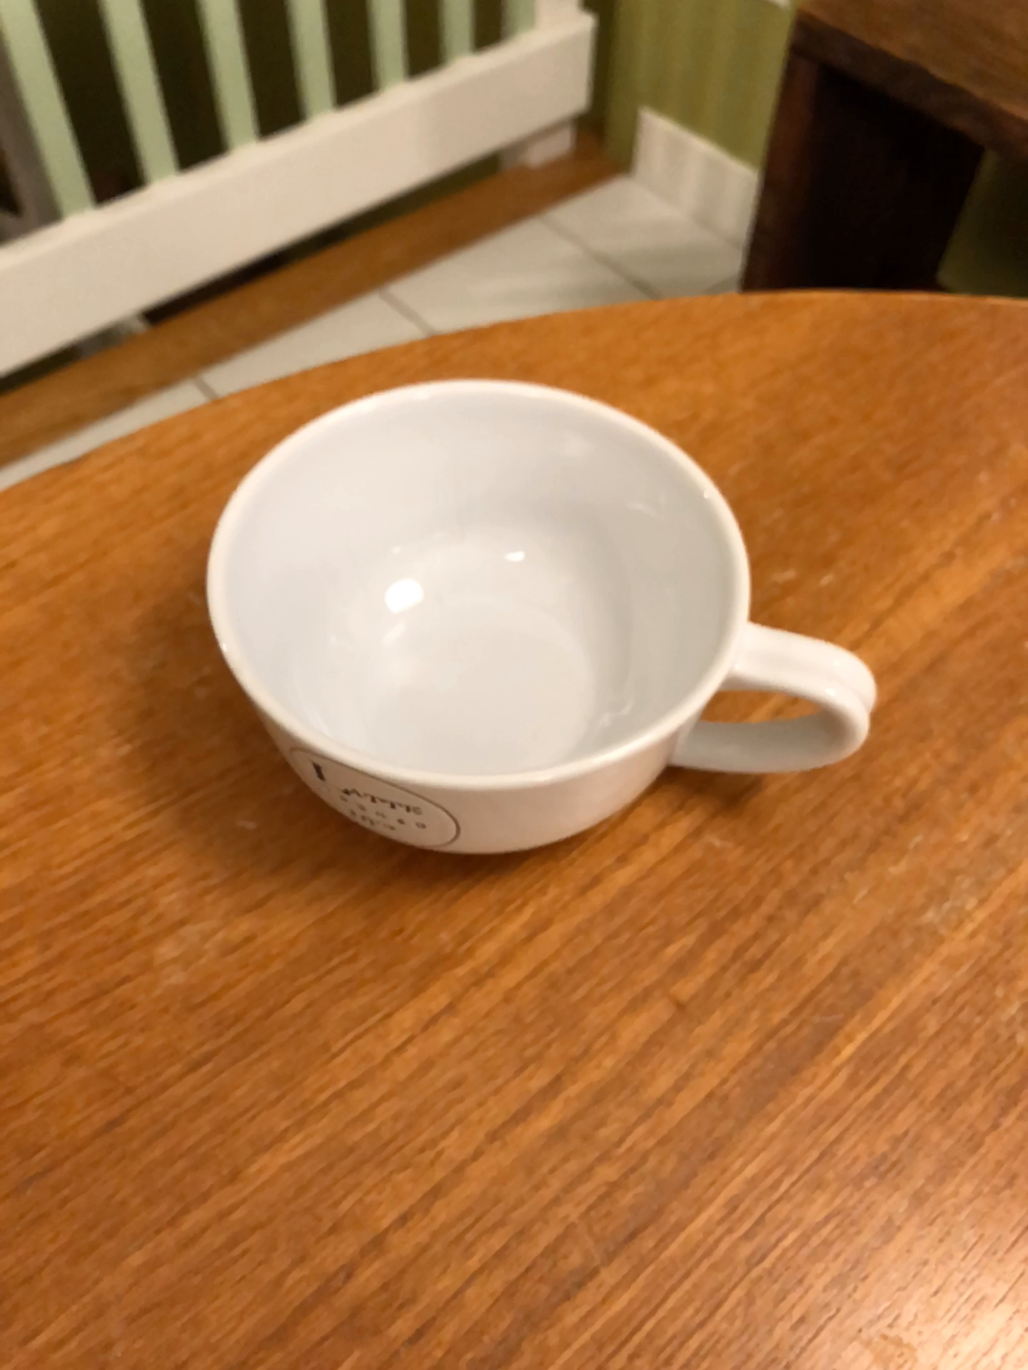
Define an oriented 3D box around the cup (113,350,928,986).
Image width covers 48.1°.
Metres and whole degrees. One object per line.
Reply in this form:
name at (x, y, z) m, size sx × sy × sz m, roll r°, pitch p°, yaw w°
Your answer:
cup at (0.011, -0.012, 0.311) m, size 0.179 × 0.055 × 0.139 m, roll 10°, pitch 55°, yaw 5°
